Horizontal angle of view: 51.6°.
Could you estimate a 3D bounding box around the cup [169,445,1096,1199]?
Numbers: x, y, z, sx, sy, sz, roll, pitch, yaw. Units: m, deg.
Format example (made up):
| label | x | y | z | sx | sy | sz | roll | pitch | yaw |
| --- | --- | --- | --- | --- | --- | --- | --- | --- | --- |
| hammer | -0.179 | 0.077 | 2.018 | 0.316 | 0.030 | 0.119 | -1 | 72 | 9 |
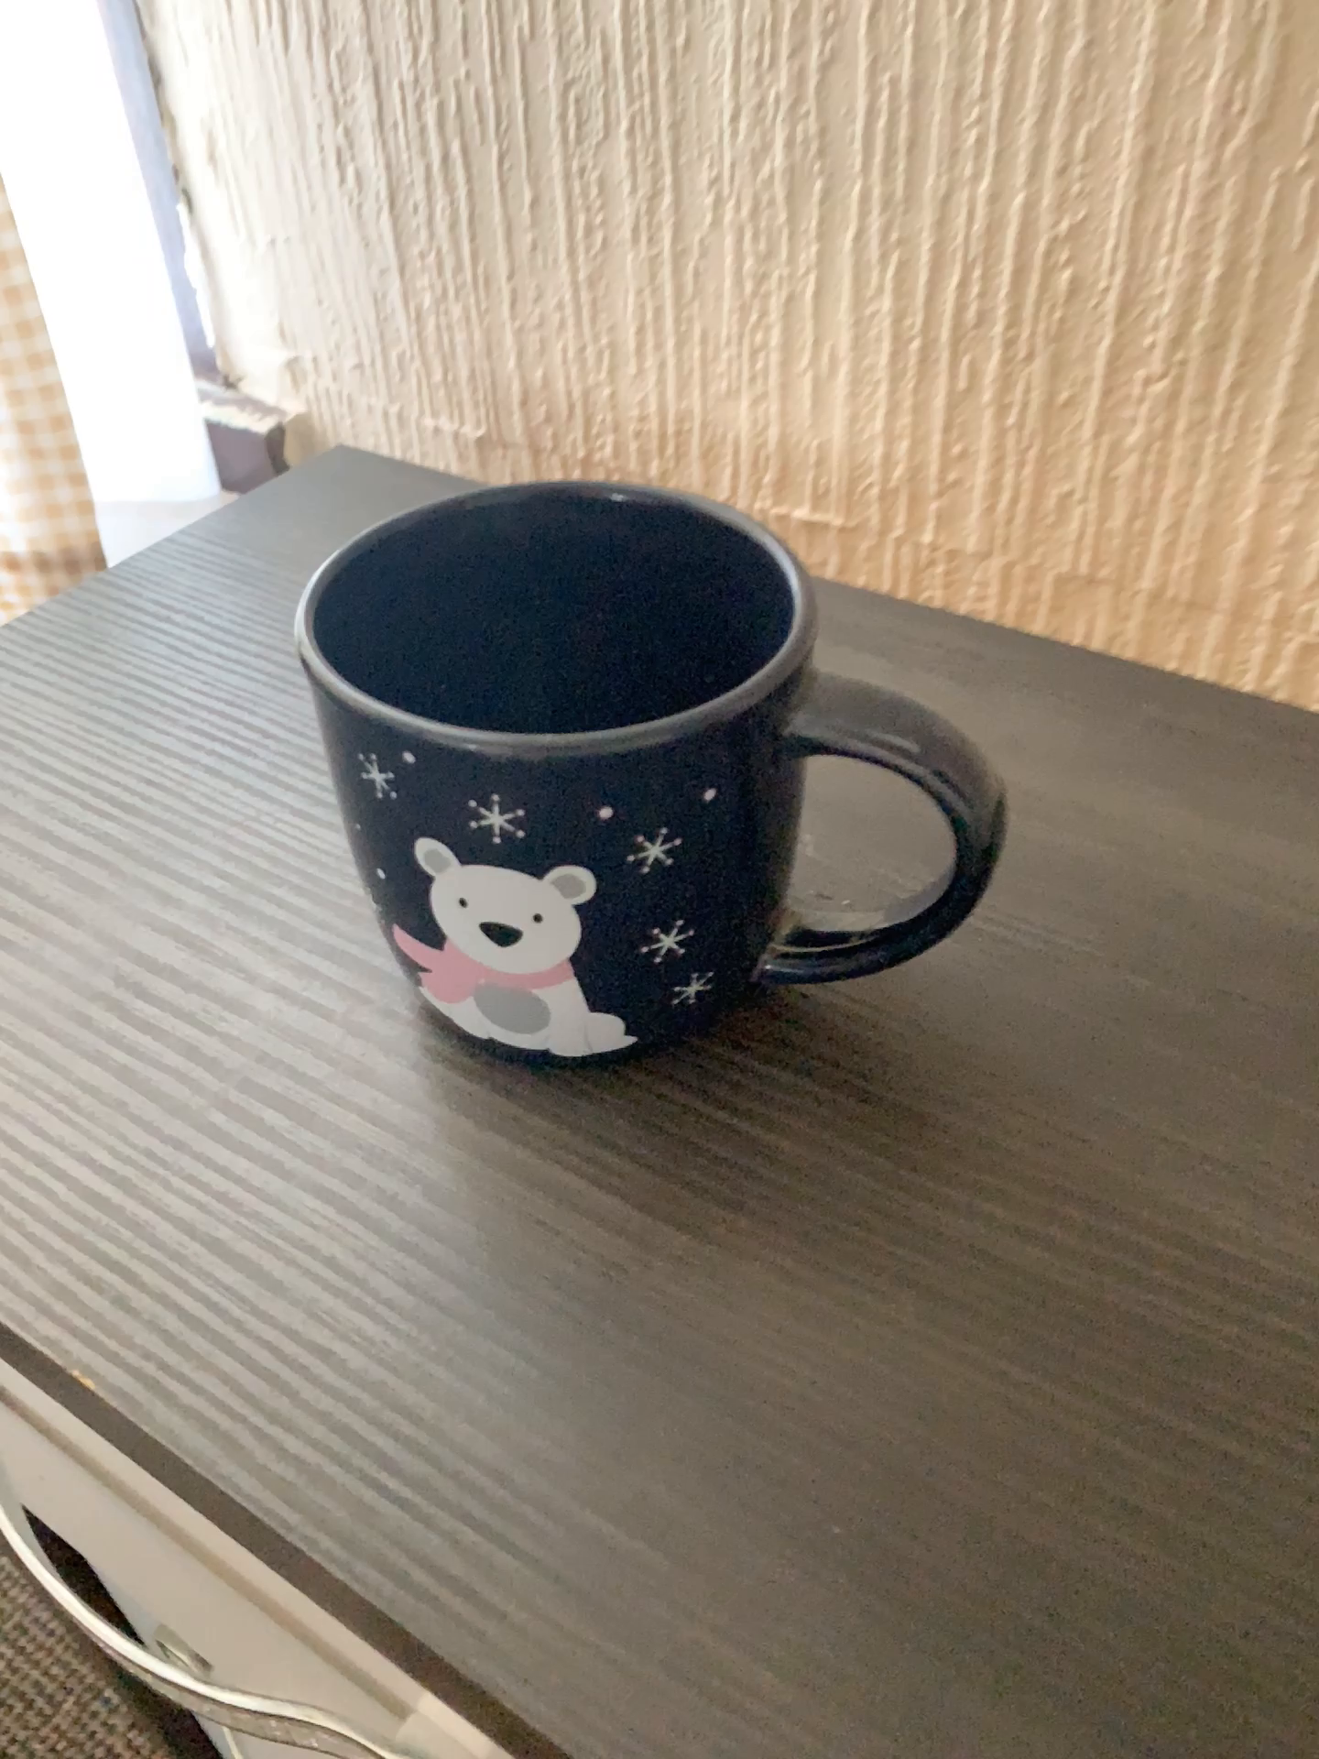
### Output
| label | x | y | z | sx | sy | sz | roll | pitch | yaw |
| --- | --- | --- | --- | --- | --- | --- | --- | --- | --- |
| cup | 0.002 | -0.019 | 0.254 | 0.130 | 0.069 | 0.101 | 13 | 43 | 16 |
